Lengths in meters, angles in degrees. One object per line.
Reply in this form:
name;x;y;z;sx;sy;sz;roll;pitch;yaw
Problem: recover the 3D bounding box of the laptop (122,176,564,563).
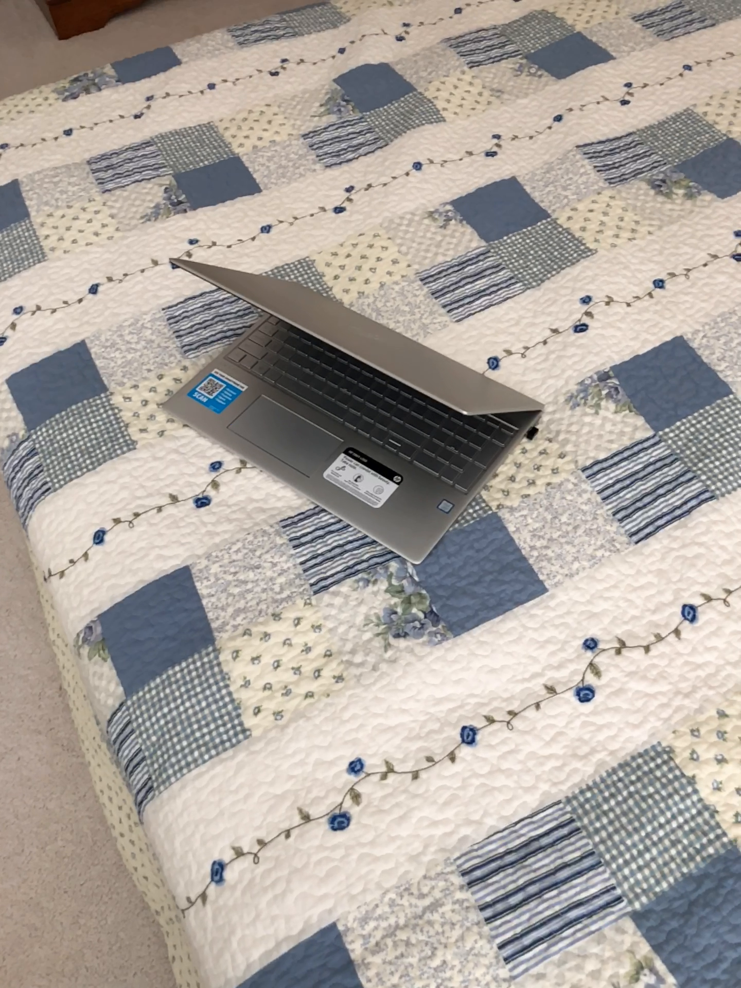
laptop;-0.025;-0.141;0.840;0.348;0.158;0.242;30;61;21
